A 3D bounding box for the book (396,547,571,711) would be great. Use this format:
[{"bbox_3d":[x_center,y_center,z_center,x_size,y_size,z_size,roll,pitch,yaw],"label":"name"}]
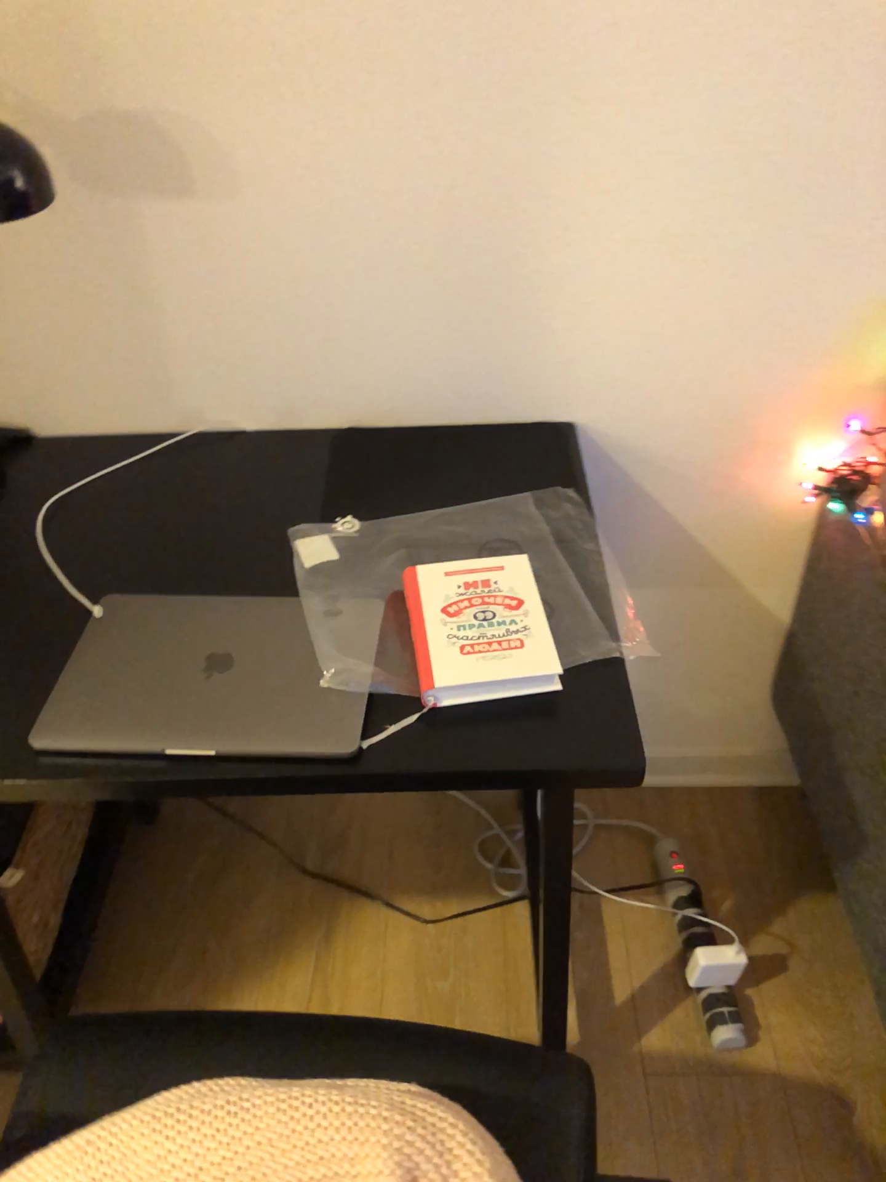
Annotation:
[{"bbox_3d":[0.035,0.032,0.982,0.140,0.030,0.191,-7,40,-7],"label":"book"}]
